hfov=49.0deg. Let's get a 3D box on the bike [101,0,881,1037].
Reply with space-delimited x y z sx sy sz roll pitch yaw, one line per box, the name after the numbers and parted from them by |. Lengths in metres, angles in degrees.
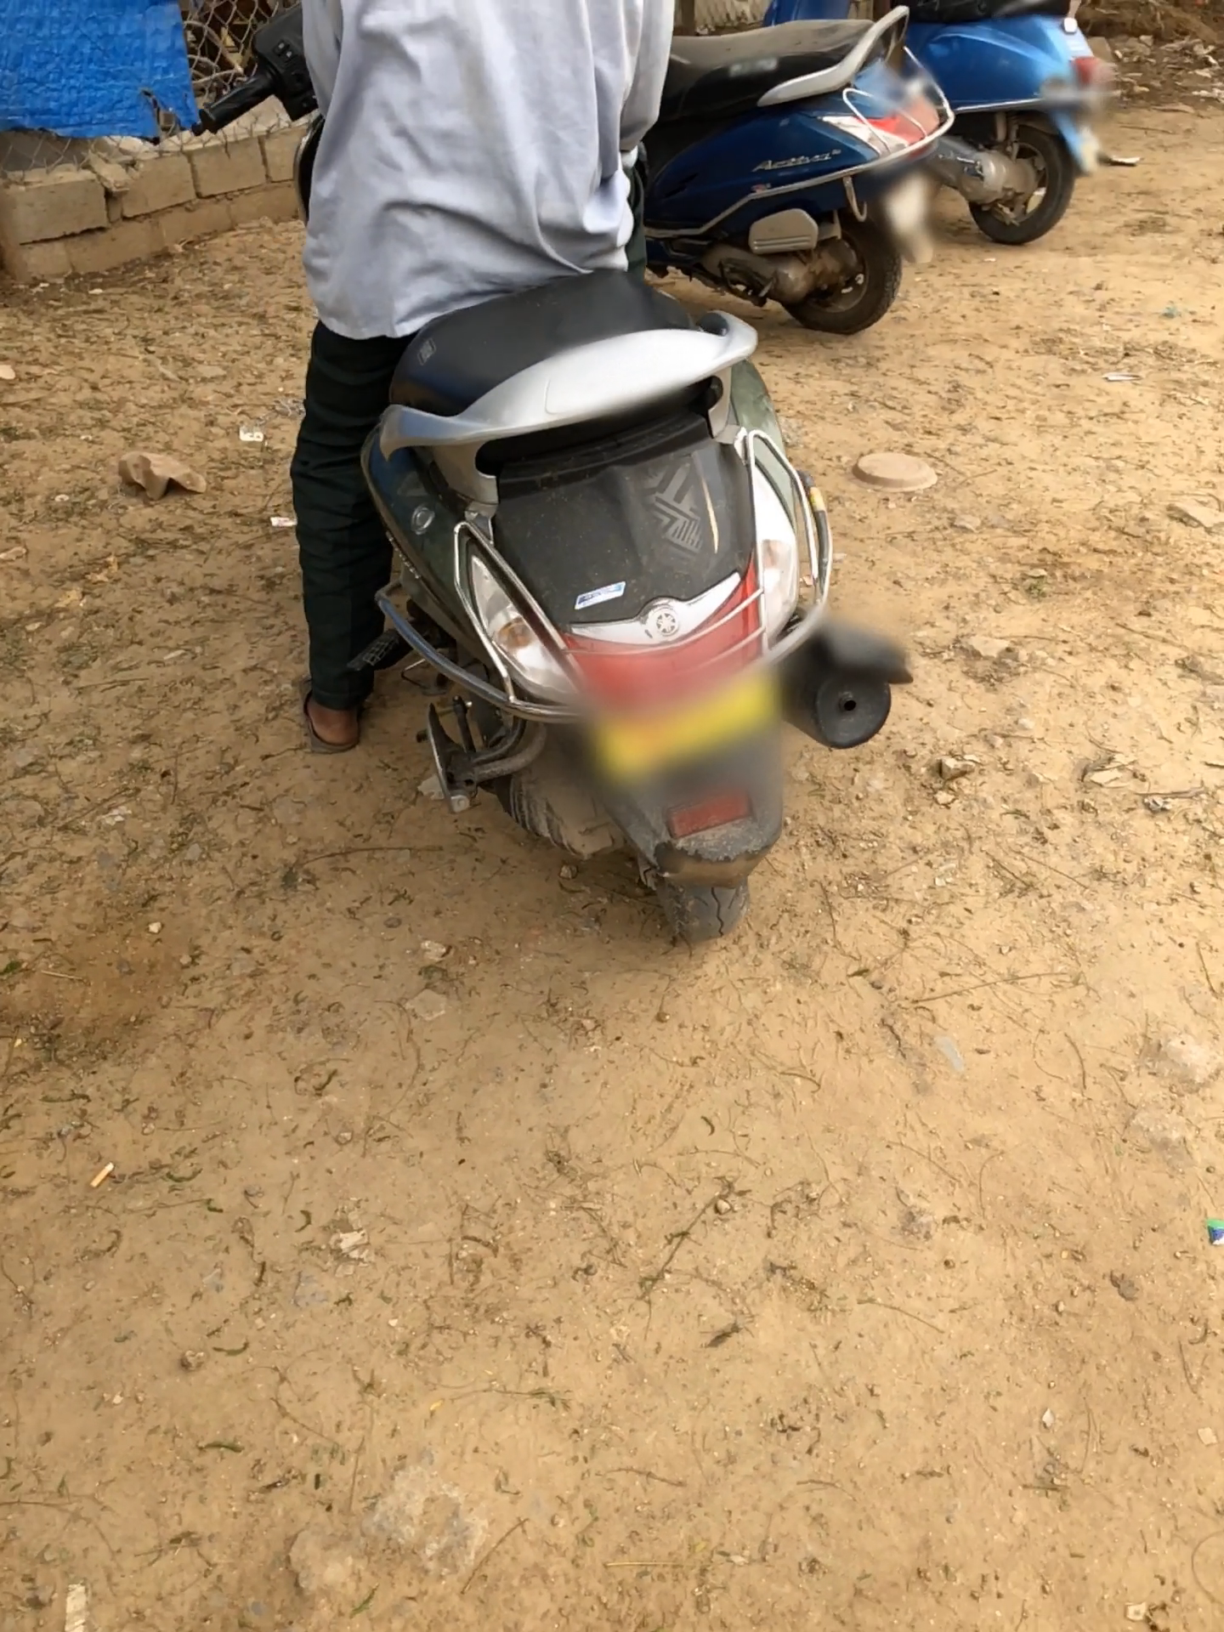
-0.316 -0.733 2.021 0.623 1.054 1.729 -10 38 -13 | bike
